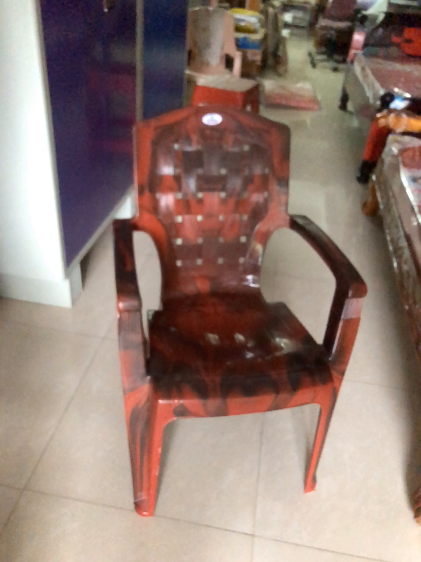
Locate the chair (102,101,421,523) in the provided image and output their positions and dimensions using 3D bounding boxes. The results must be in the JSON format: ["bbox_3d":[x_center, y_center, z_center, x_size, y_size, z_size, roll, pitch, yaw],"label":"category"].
[{"bbox_3d":[0.025,0.075,1.194,0.530,0.865,0.563,-2,35,-10],"label":"chair"}]
